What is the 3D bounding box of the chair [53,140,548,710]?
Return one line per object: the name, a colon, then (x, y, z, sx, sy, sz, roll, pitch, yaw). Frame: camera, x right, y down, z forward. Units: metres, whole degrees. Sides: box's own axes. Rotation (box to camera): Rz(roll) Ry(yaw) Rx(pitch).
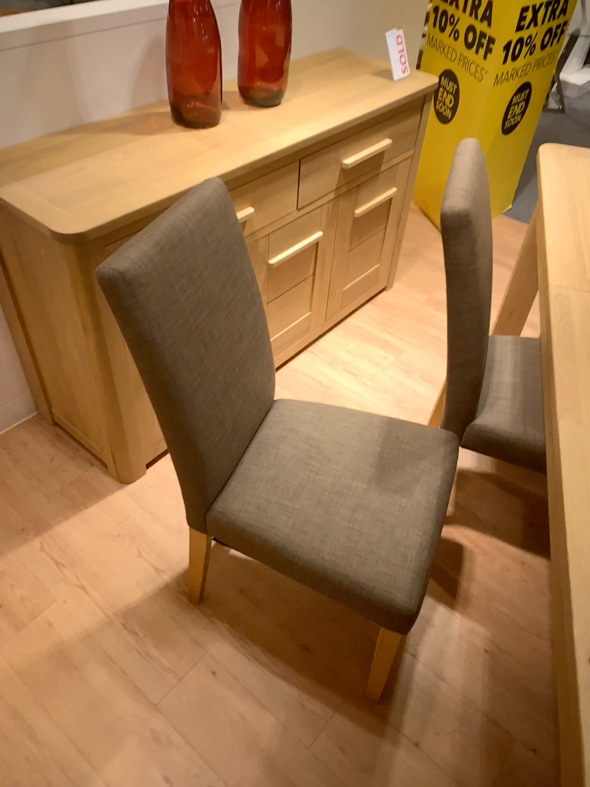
chair: (0.021, 0.105, 1.227, 0.611, 0.951, 0.494, 18, 45, 14)
